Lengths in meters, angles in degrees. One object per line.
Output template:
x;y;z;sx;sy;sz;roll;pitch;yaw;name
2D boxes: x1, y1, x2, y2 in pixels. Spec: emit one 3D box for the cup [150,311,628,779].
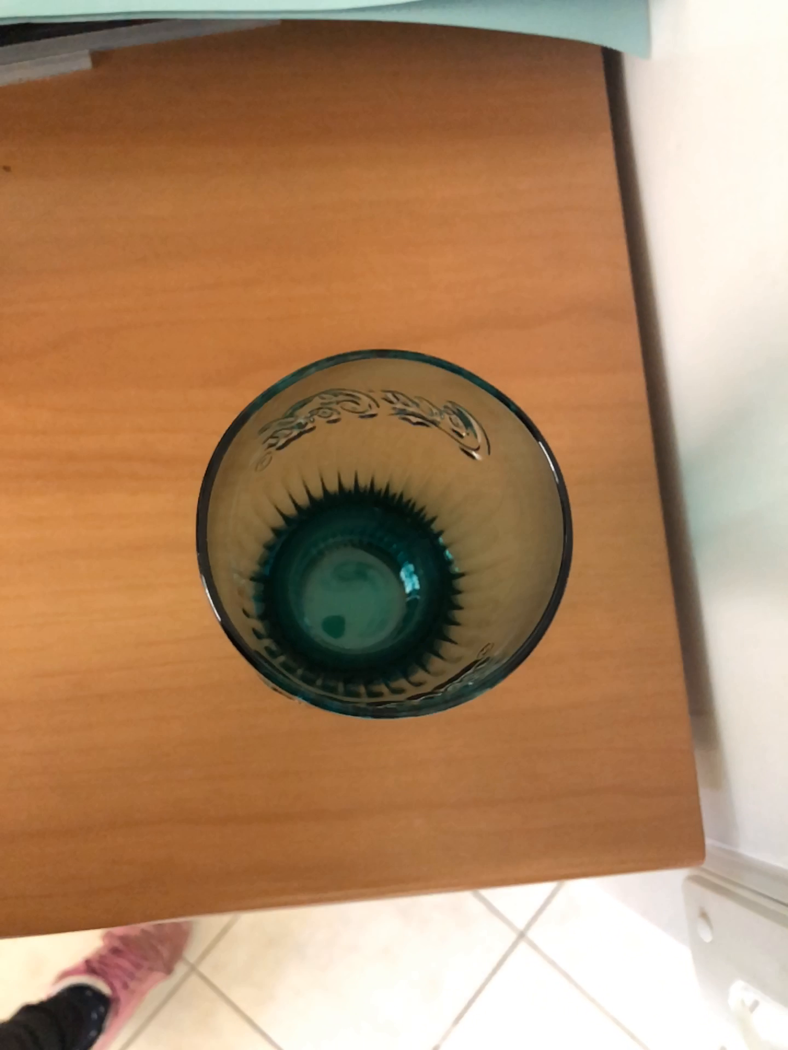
-0.008;0.014;0.240;0.080;0.140;0.080;1;79;-6;cup
